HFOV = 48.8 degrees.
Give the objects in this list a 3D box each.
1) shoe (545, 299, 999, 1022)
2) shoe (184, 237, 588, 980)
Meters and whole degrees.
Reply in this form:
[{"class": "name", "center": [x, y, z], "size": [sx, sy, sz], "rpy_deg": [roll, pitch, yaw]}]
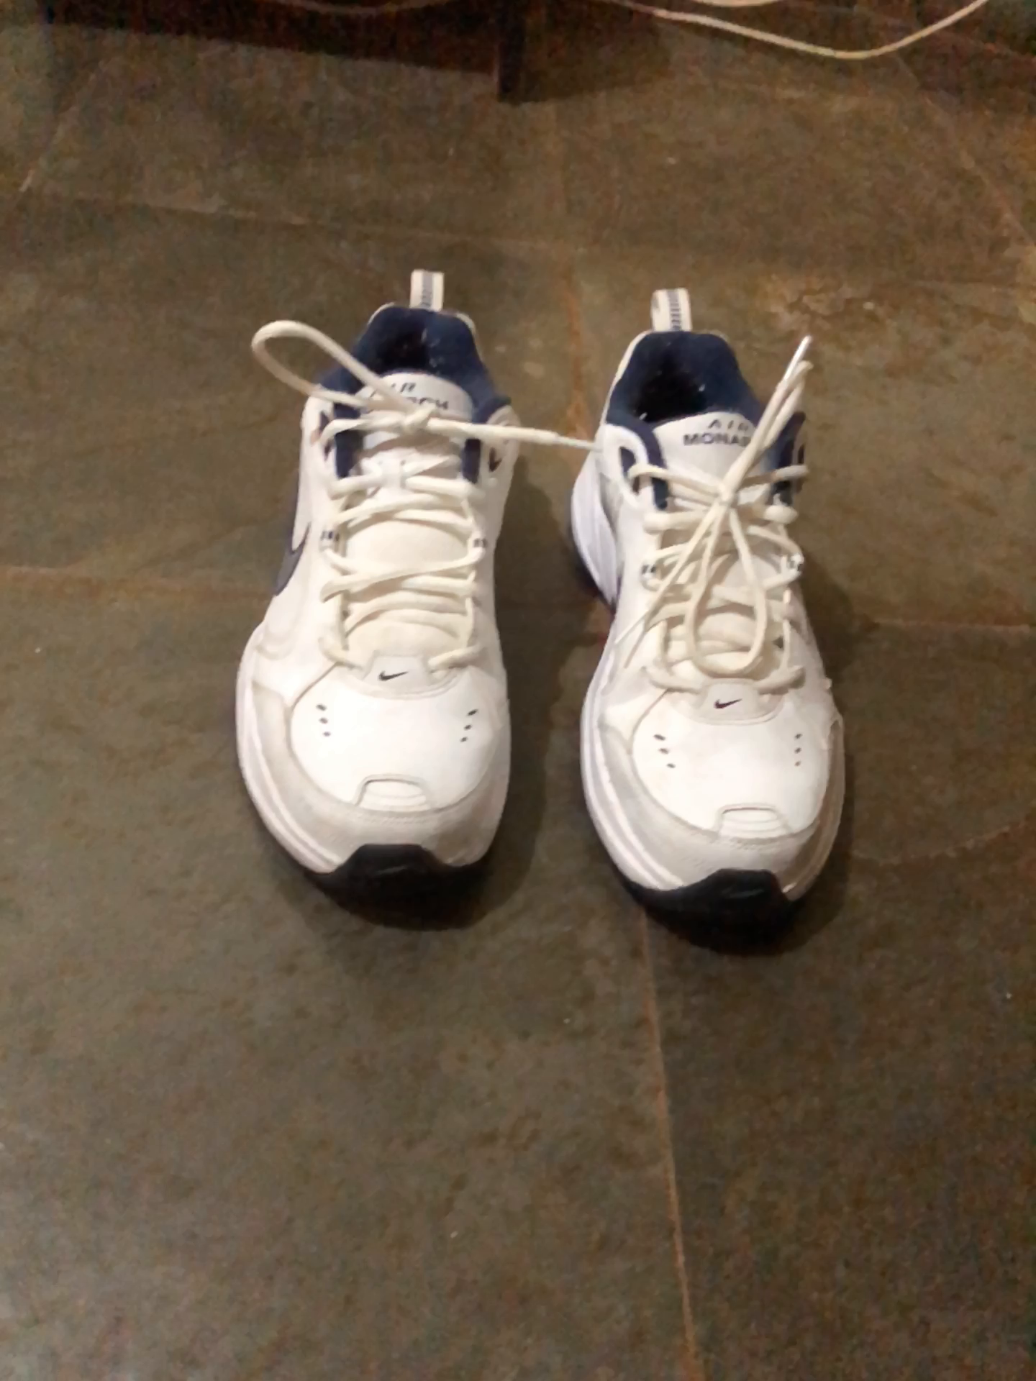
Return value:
[{"class": "shoe", "center": [0.086, -0.027, 0.521], "size": [0.120, 0.149, 0.302], "rpy_deg": [4, 48, -6]}, {"class": "shoe", "center": [-0.055, -0.048, 0.497], "size": [0.120, 0.149, 0.302], "rpy_deg": [3, 48, -7]}]
